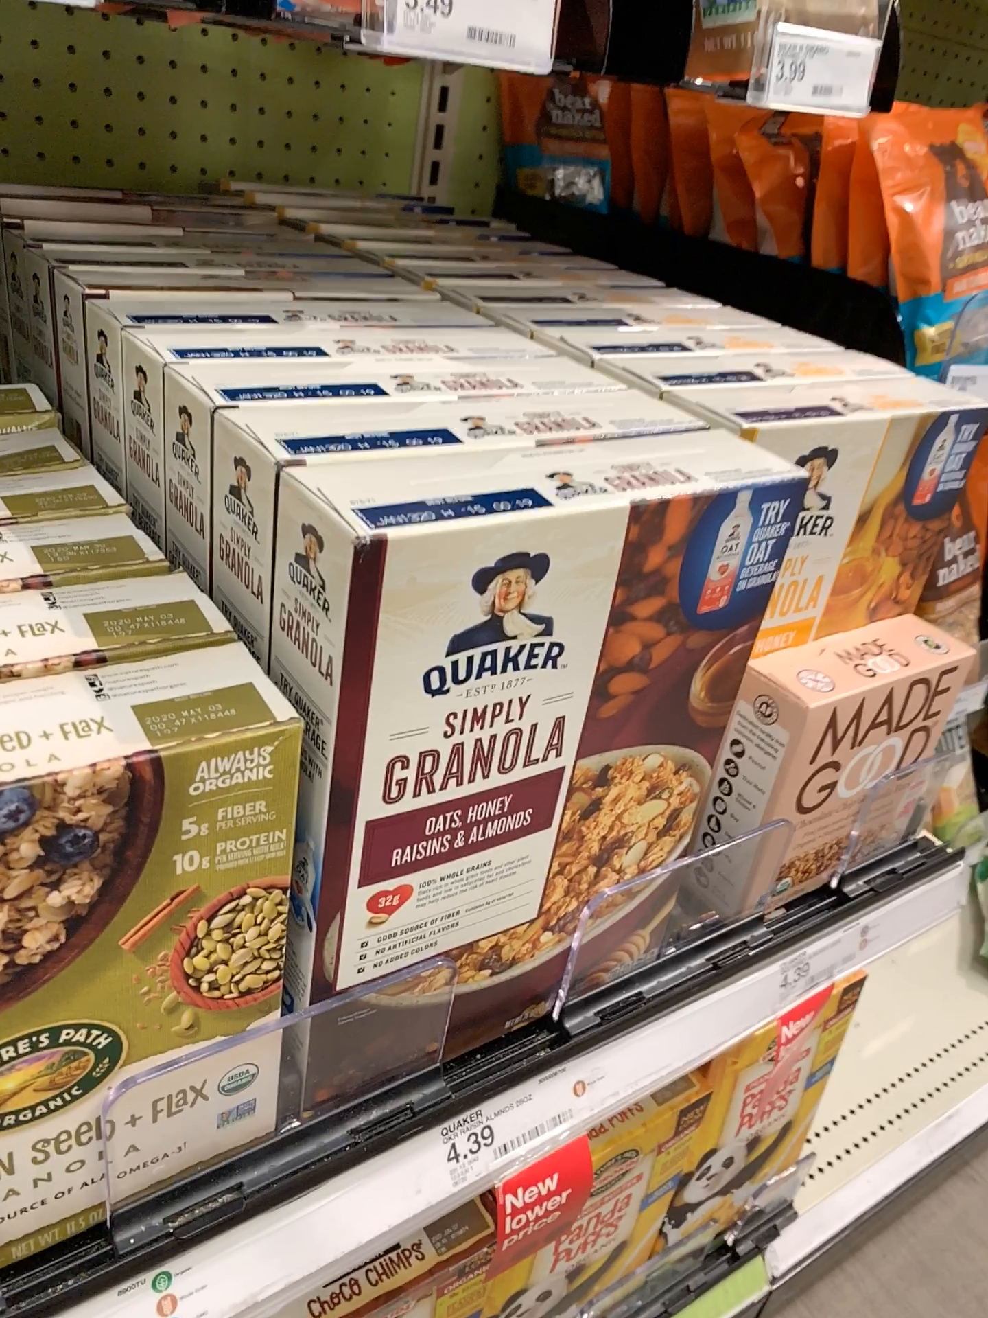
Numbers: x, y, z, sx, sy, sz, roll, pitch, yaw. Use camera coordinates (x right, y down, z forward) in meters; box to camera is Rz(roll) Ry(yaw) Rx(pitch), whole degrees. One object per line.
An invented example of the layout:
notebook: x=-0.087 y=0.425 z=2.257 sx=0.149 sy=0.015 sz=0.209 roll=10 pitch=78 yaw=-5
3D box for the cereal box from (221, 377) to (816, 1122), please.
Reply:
cereal box: x=-0.001 y=0.031 z=0.378 sx=0.180 sy=0.249 sz=0.060 roll=-13 pitch=38 yaw=-34
